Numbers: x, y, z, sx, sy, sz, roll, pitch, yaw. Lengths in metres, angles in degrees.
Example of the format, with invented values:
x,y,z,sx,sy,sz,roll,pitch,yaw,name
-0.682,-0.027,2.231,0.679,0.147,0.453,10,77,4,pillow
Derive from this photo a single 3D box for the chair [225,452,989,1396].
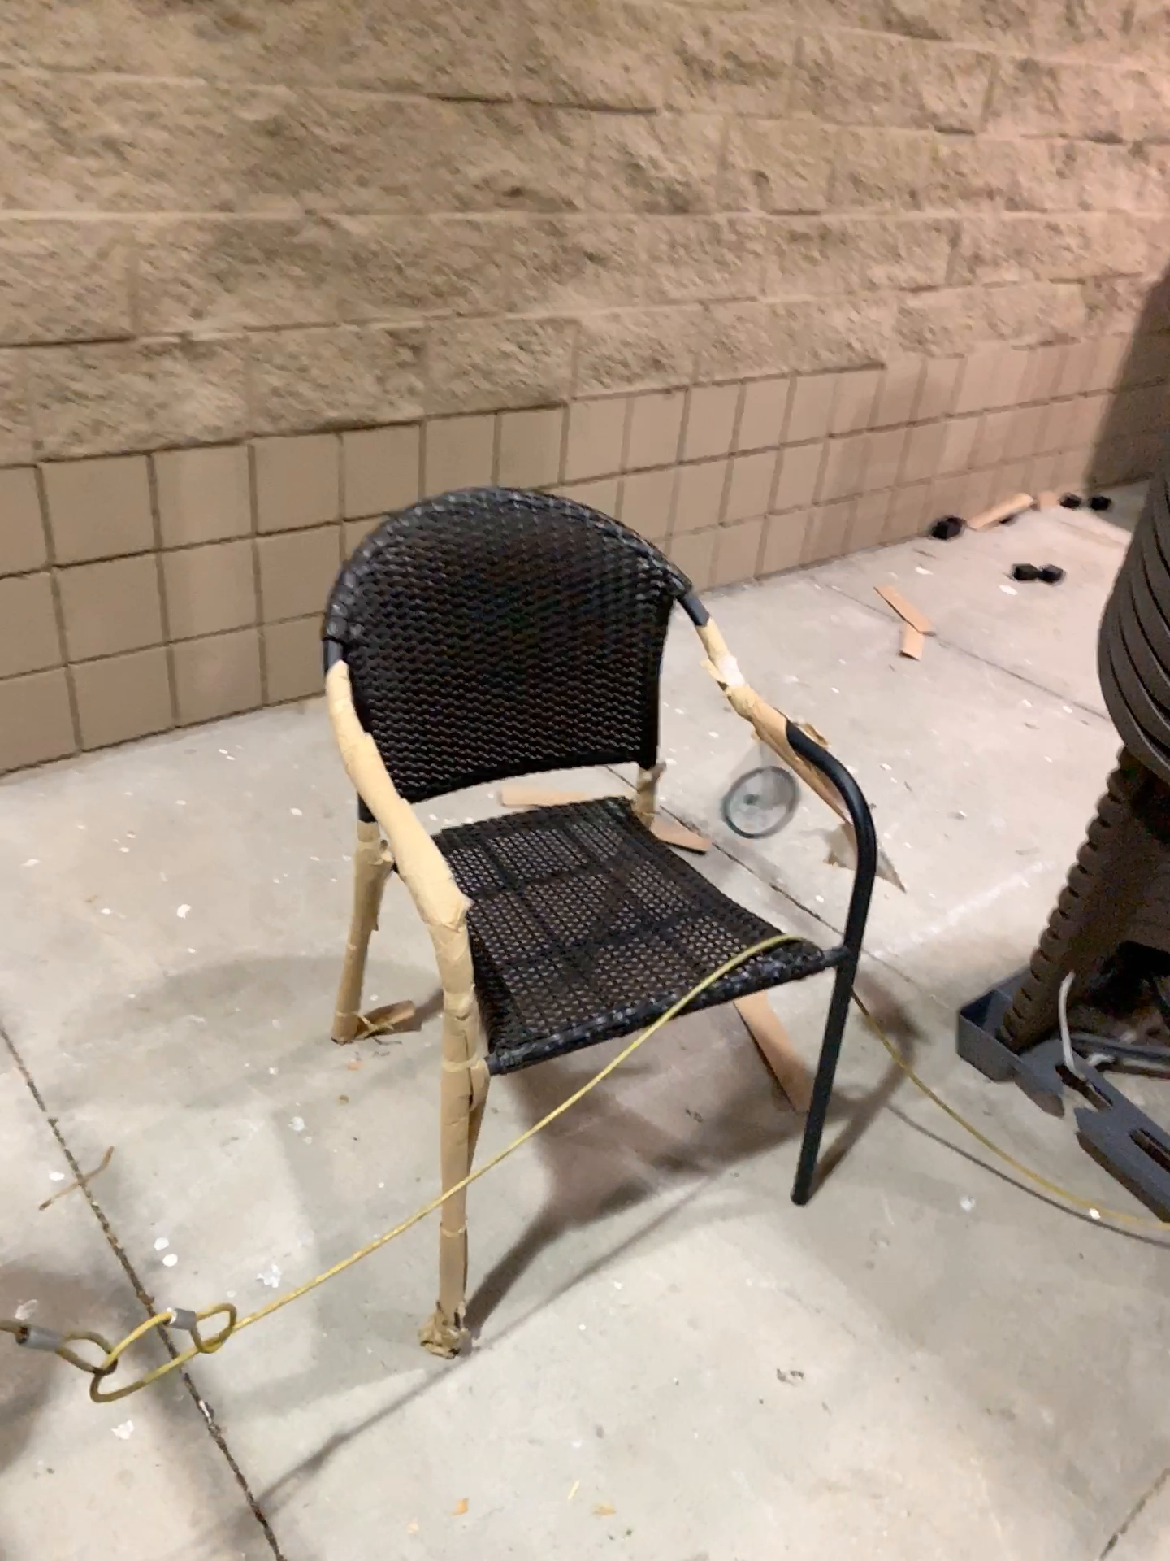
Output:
x,y,z,sx,sy,sz,roll,pitch,yaw,name
-0.041,0.123,1.455,0.576,0.840,0.599,-13,36,-28,chair
